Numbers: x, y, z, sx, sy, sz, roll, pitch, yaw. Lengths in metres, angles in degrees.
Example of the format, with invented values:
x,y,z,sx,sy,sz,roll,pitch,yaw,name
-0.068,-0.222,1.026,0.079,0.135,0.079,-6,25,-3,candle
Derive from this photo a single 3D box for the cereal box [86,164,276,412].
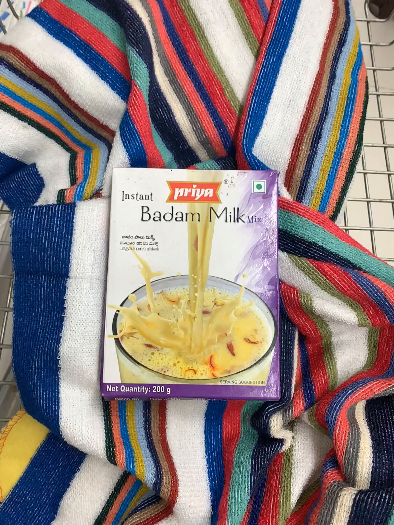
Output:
x,y,z,sx,sy,sz,roll,pitch,yaw,name
-0.008,0.017,0.283,0.120,0.030,0.160,2,83,-3,cereal box
